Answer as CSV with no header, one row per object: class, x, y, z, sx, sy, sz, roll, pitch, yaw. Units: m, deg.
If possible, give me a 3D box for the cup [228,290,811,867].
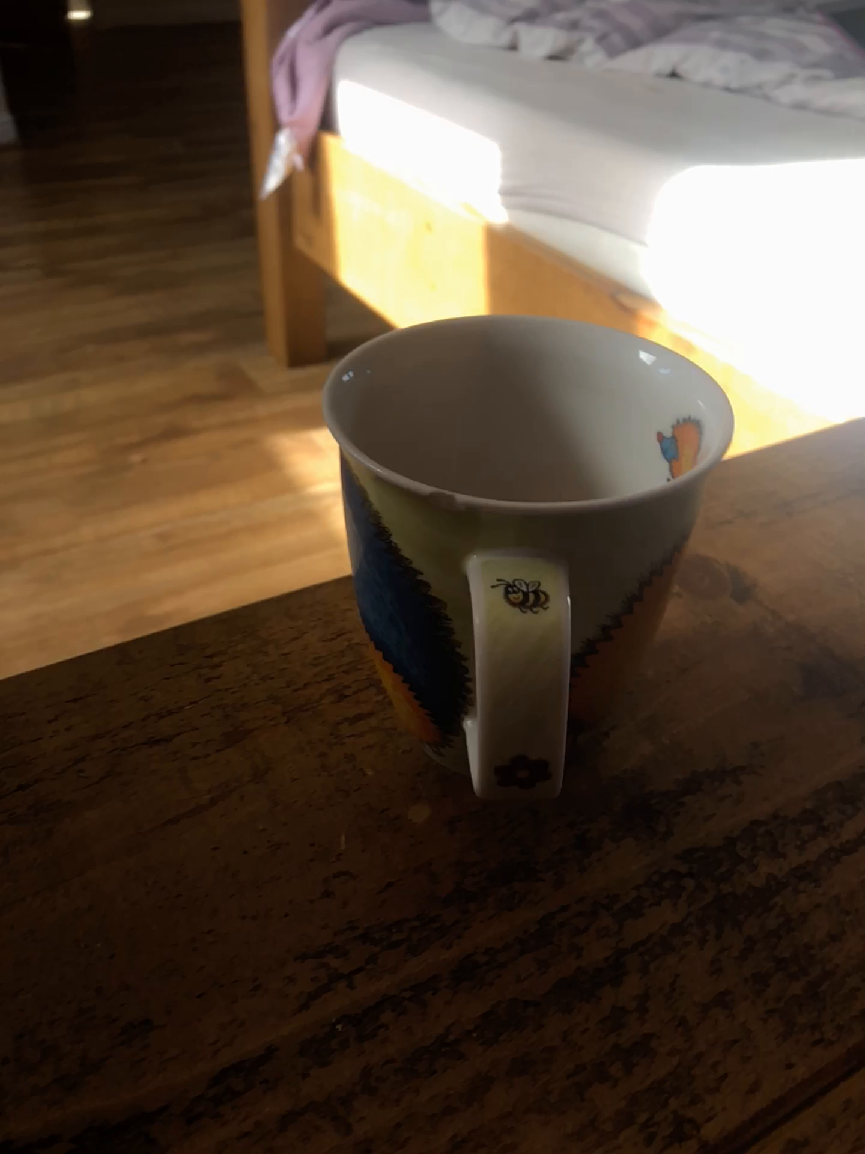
cup,0.015,-0.007,0.254,0.107,0.089,0.128,2,37,-1
